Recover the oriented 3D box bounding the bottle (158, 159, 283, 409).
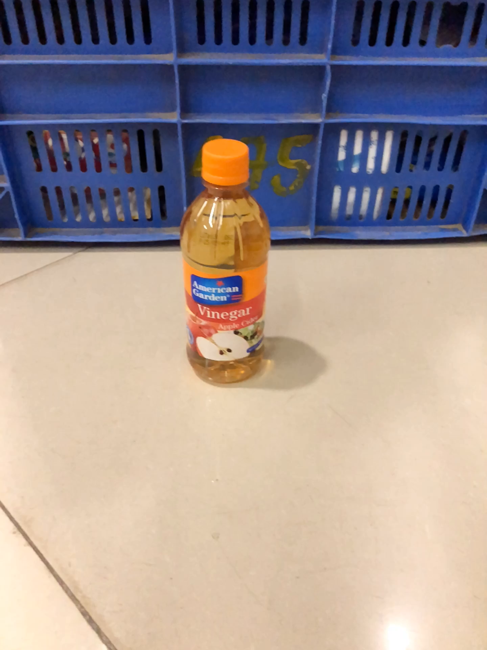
[{"bbox_3d":[-0.012,-0.026,0.398,0.070,0.169,0.070,0,37,0],"label":"bottle"}]
